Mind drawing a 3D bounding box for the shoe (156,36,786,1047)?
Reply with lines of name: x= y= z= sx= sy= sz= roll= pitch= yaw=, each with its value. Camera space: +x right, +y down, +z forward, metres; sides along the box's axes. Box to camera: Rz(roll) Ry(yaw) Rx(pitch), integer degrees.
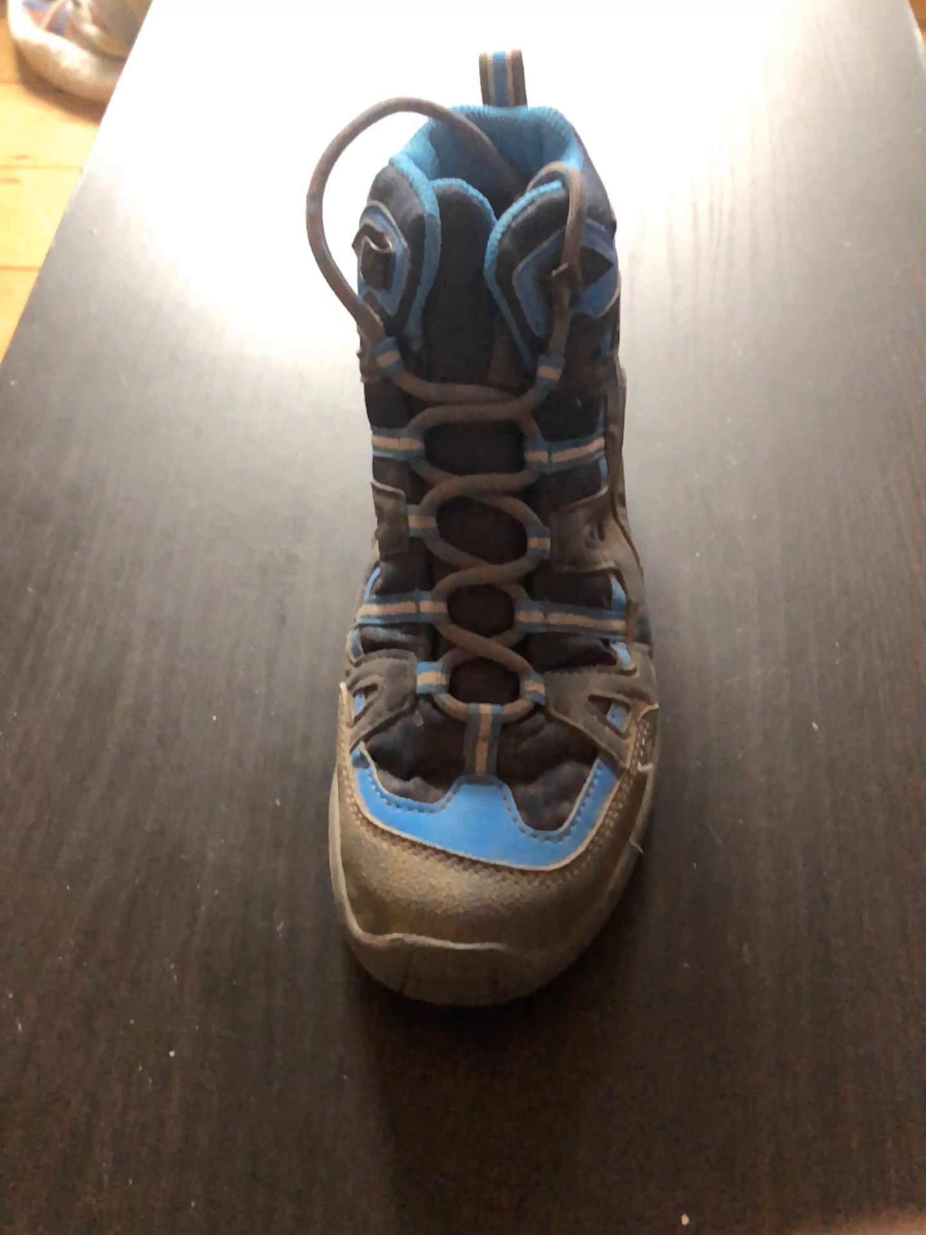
shoe: x=0.012 y=-0.031 z=0.280 sx=0.100 sy=0.119 sz=0.251 roll=2 pitch=57 yaw=4
